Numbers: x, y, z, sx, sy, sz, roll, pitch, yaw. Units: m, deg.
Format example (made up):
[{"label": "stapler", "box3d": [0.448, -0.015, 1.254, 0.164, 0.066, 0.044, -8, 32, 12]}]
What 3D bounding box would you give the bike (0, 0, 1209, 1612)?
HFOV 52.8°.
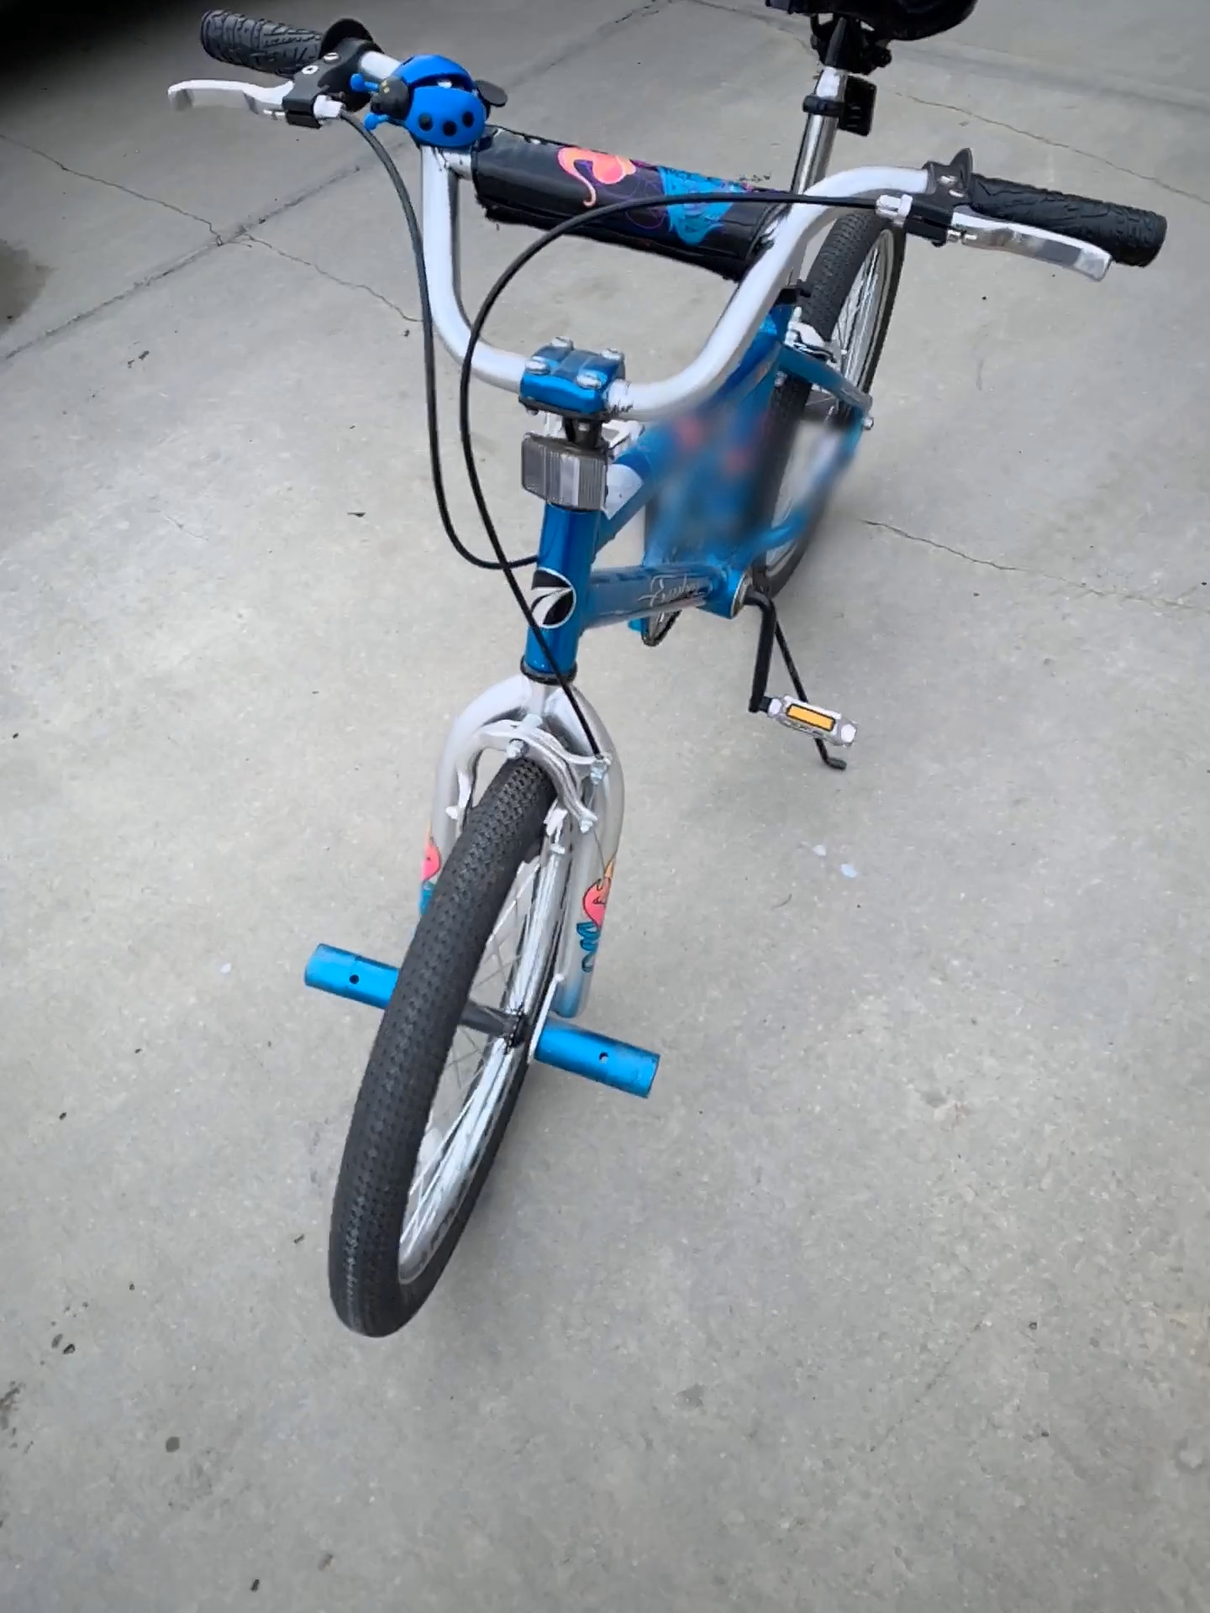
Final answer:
[{"label": "bike", "box3d": [0.157, -0.239, 1.073, 0.682, 0.837, 1.390, 14, 51, 18]}]
